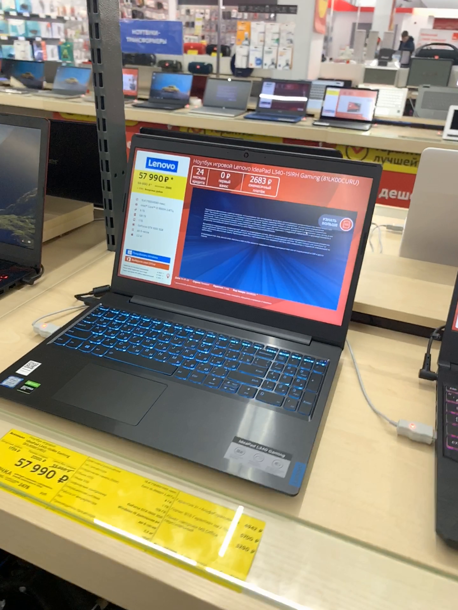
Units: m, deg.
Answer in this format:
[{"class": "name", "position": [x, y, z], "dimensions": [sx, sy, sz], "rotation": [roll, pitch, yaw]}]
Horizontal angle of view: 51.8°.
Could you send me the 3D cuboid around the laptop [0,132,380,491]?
[{"class": "laptop", "position": [-0.039, -0.046, 0.570], "dimensions": [0.357, 0.223, 0.349], "rotation": [13, 31, 17]}]
